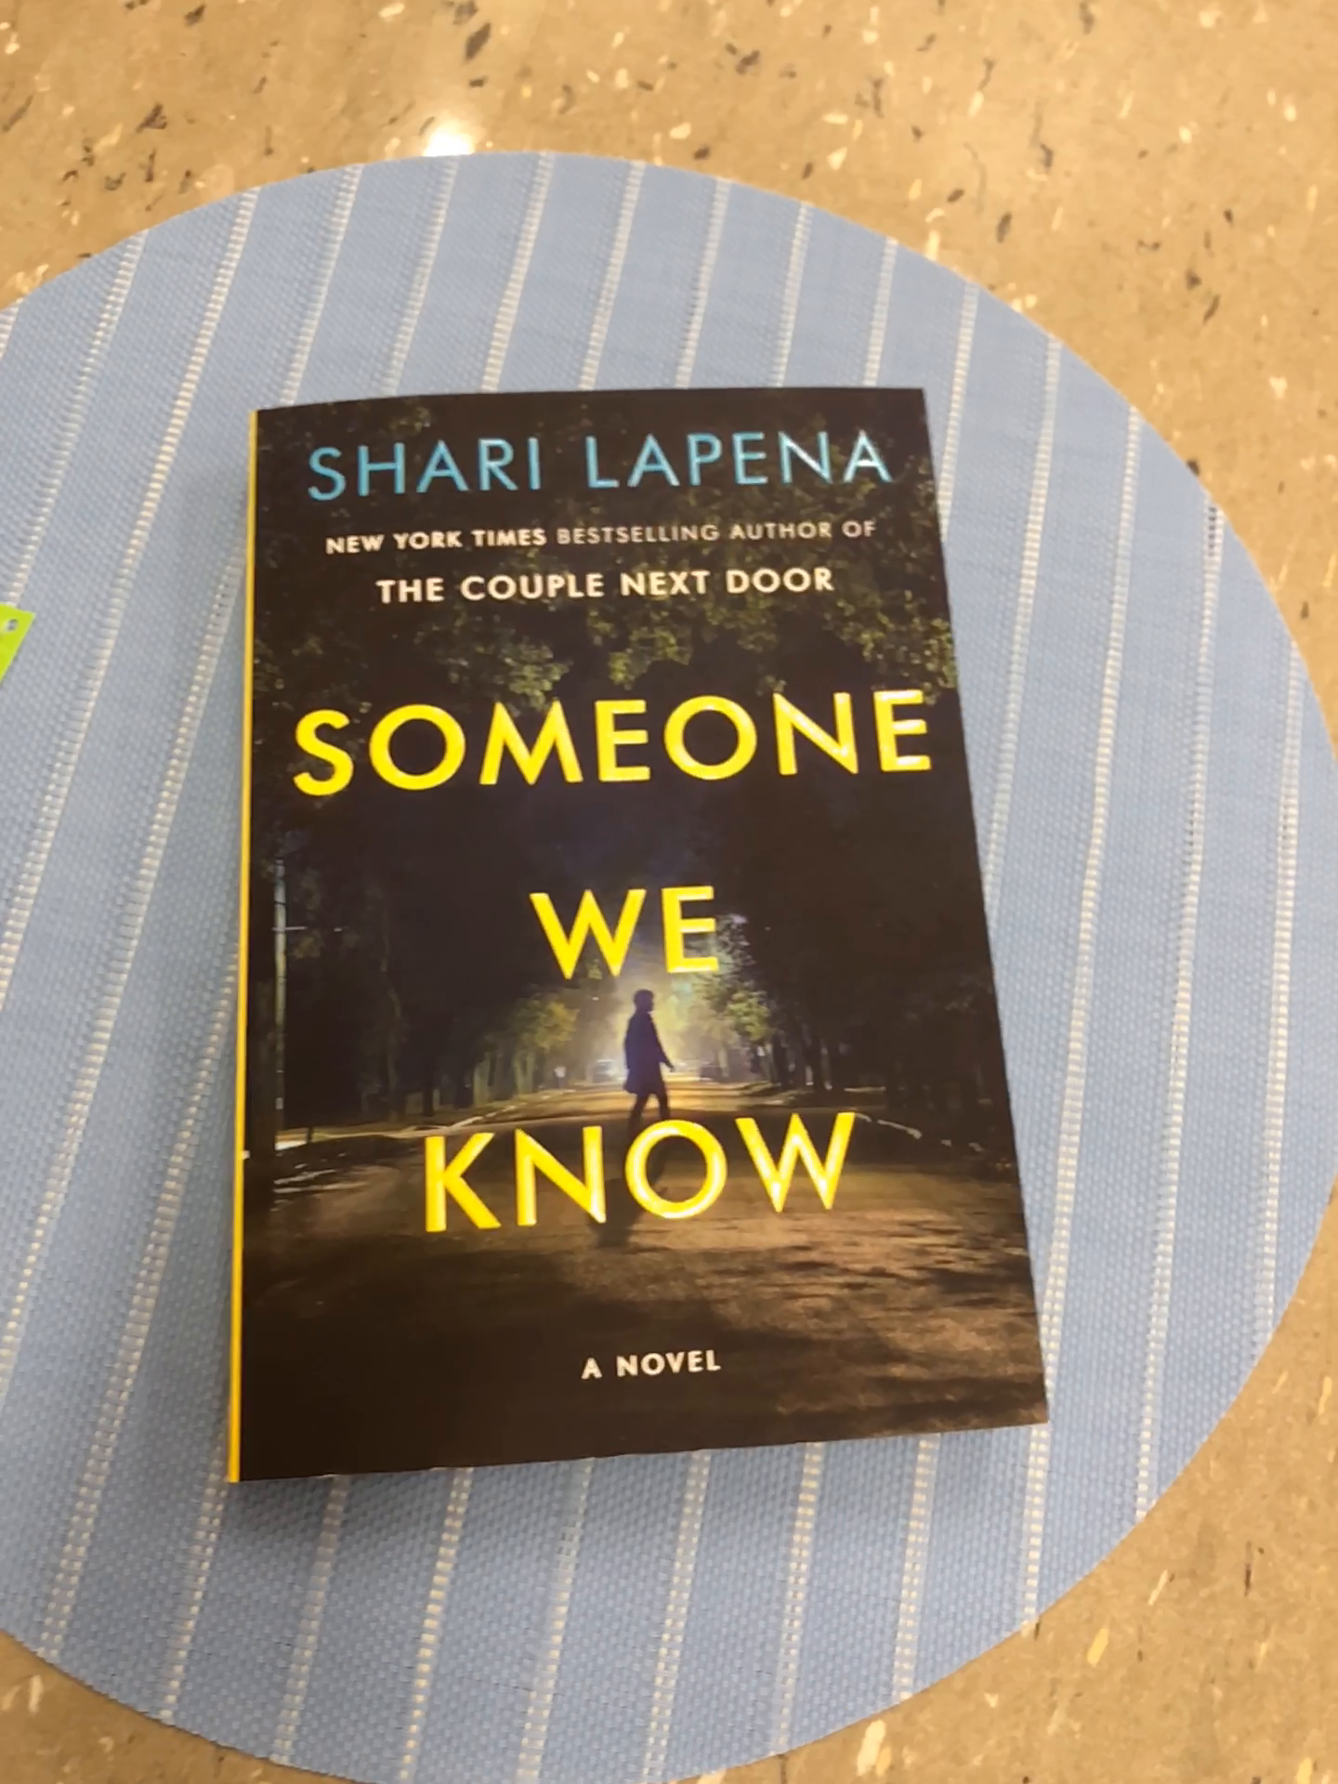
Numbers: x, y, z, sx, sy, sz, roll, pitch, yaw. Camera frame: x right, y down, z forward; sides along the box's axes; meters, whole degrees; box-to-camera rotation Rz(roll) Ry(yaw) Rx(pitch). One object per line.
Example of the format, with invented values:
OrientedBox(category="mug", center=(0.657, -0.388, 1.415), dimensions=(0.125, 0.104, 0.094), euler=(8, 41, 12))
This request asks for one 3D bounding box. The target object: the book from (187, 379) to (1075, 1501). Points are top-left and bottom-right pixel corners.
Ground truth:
OrientedBox(category="book", center=(-0.013, 0.001, 0.316), dimensions=(0.161, 0.030, 0.225), euler=(-3, 74, -4))
